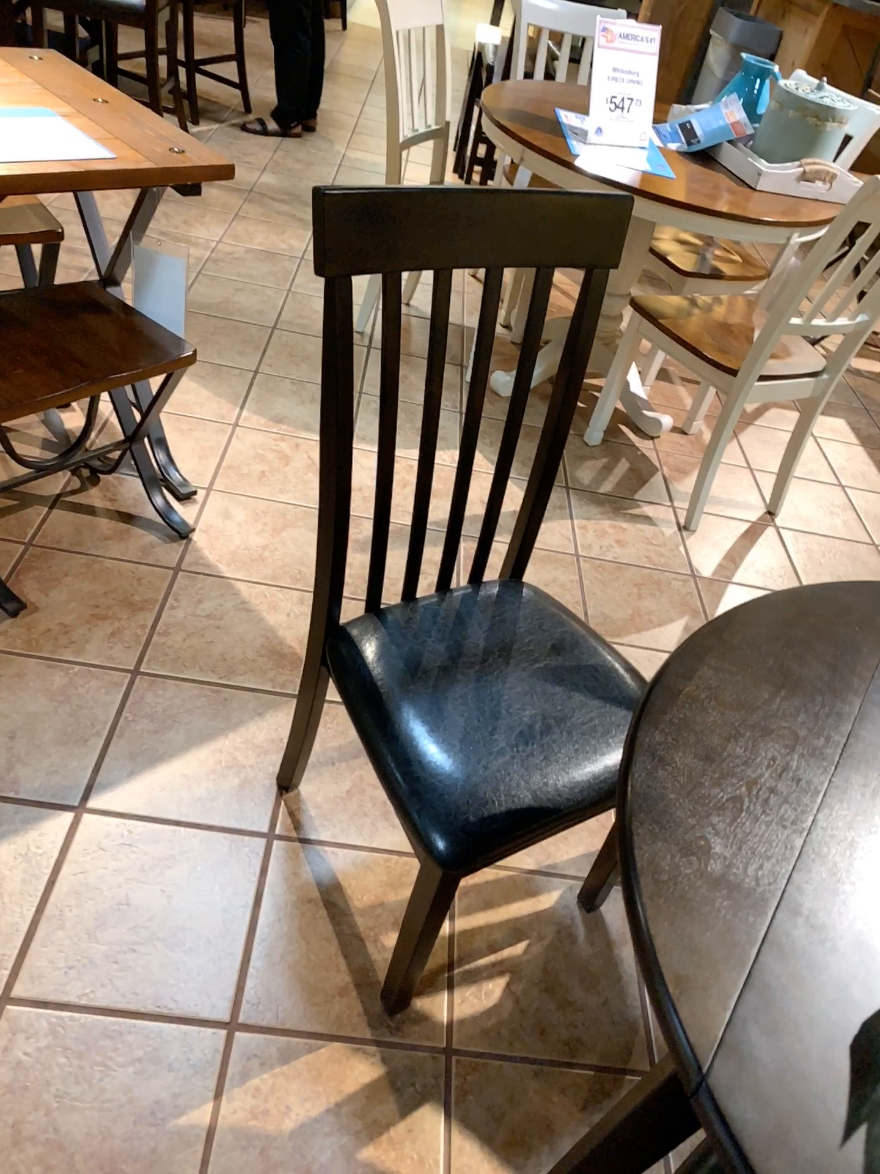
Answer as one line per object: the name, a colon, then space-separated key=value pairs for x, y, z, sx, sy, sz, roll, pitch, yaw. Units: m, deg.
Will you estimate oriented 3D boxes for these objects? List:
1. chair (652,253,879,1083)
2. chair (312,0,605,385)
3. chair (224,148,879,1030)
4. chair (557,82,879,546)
chair: x=0.685 y=0.136 z=1.220 sx=0.384 sy=0.933 sz=0.544 roll=23 pitch=40 yaw=10
chair: x=0.023 y=-1.154 z=2.565 sx=0.541 sy=0.903 sz=0.416 roll=24 pitch=40 yaw=12
chair: x=0.056 y=0.018 z=1.178 sx=0.455 sy=0.923 sz=0.563 roll=-13 pitch=47 yaw=-30
chair: x=0.750 y=-0.653 z=2.211 sx=0.465 sy=0.893 sz=0.543 roll=-12 pitch=46 yaw=-29
